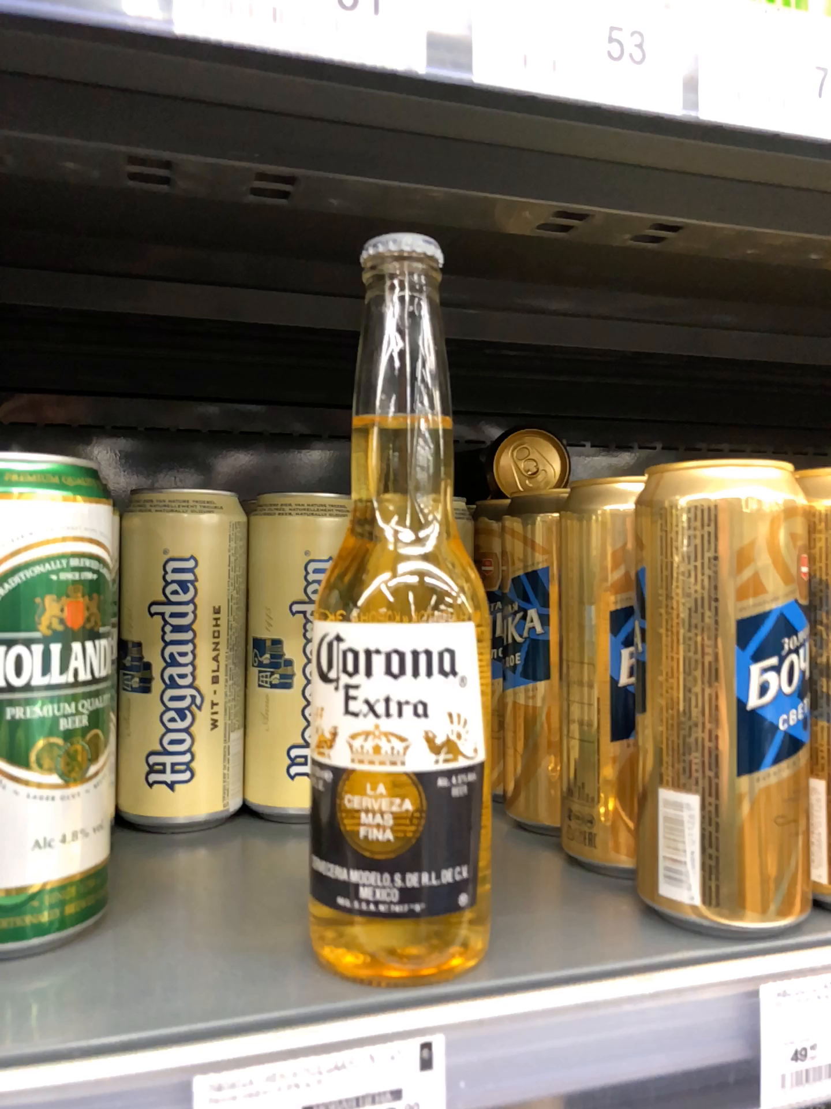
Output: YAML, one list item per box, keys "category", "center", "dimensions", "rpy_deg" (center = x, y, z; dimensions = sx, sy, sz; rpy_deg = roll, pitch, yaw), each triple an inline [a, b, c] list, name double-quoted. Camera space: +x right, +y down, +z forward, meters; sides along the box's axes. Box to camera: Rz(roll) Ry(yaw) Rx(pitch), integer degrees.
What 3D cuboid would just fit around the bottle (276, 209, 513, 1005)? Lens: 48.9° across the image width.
- category: "bottle"
  center: [-0.004, 0.015, 0.309]
  dimensions: [0.070, 0.238, 0.060]
  rpy_deg: [0, -1, 8]
